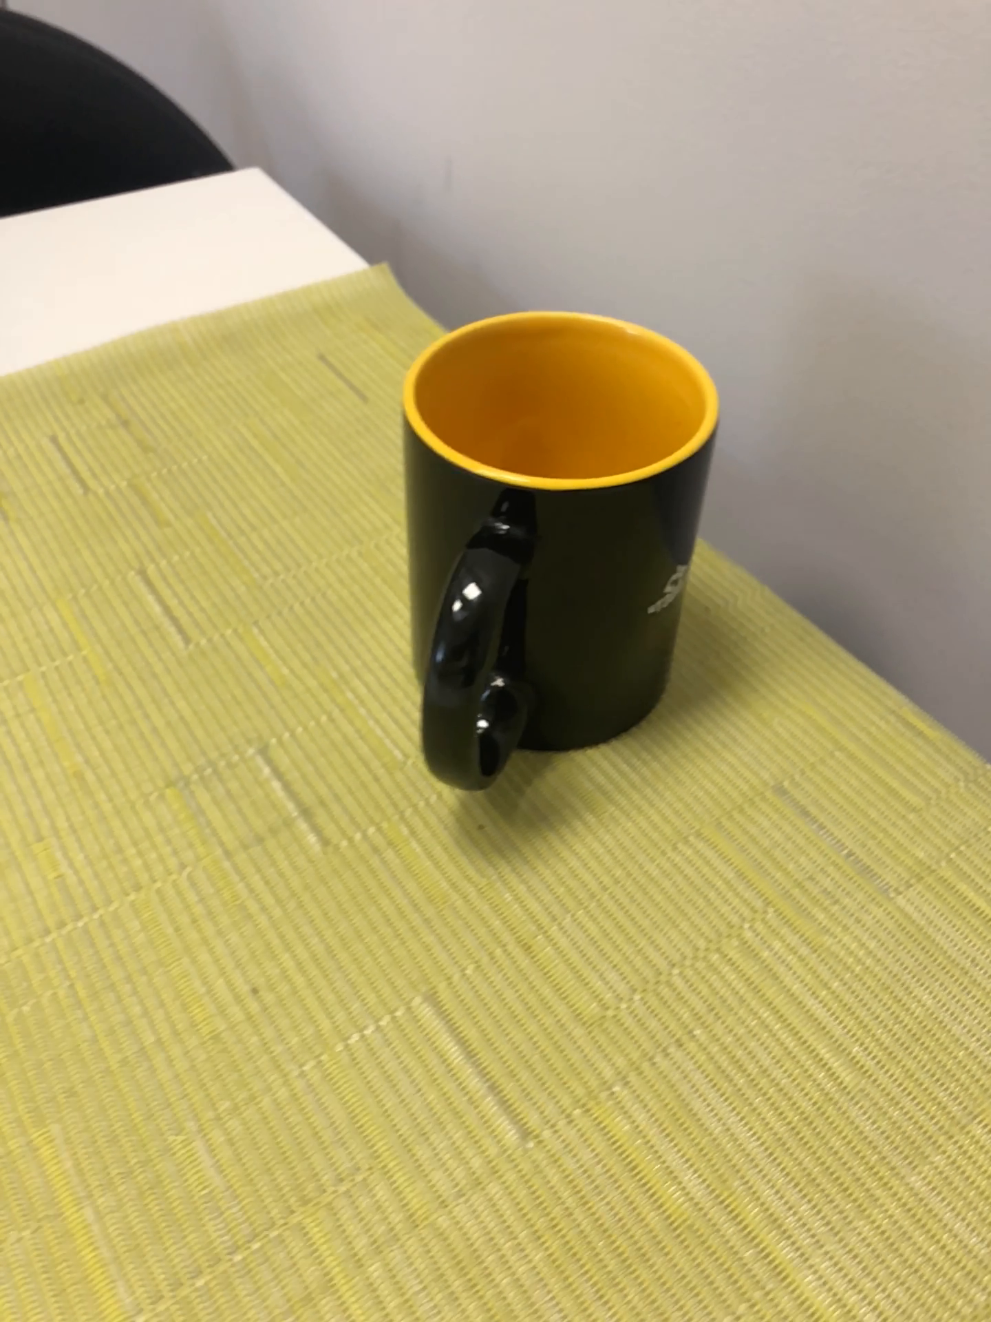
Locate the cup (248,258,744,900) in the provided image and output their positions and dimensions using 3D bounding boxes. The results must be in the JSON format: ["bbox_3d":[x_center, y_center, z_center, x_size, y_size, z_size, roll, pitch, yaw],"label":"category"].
[{"bbox_3d":[0.006,-0.025,0.295,0.088,0.104,0.120,12,46,9],"label":"cup"}]
